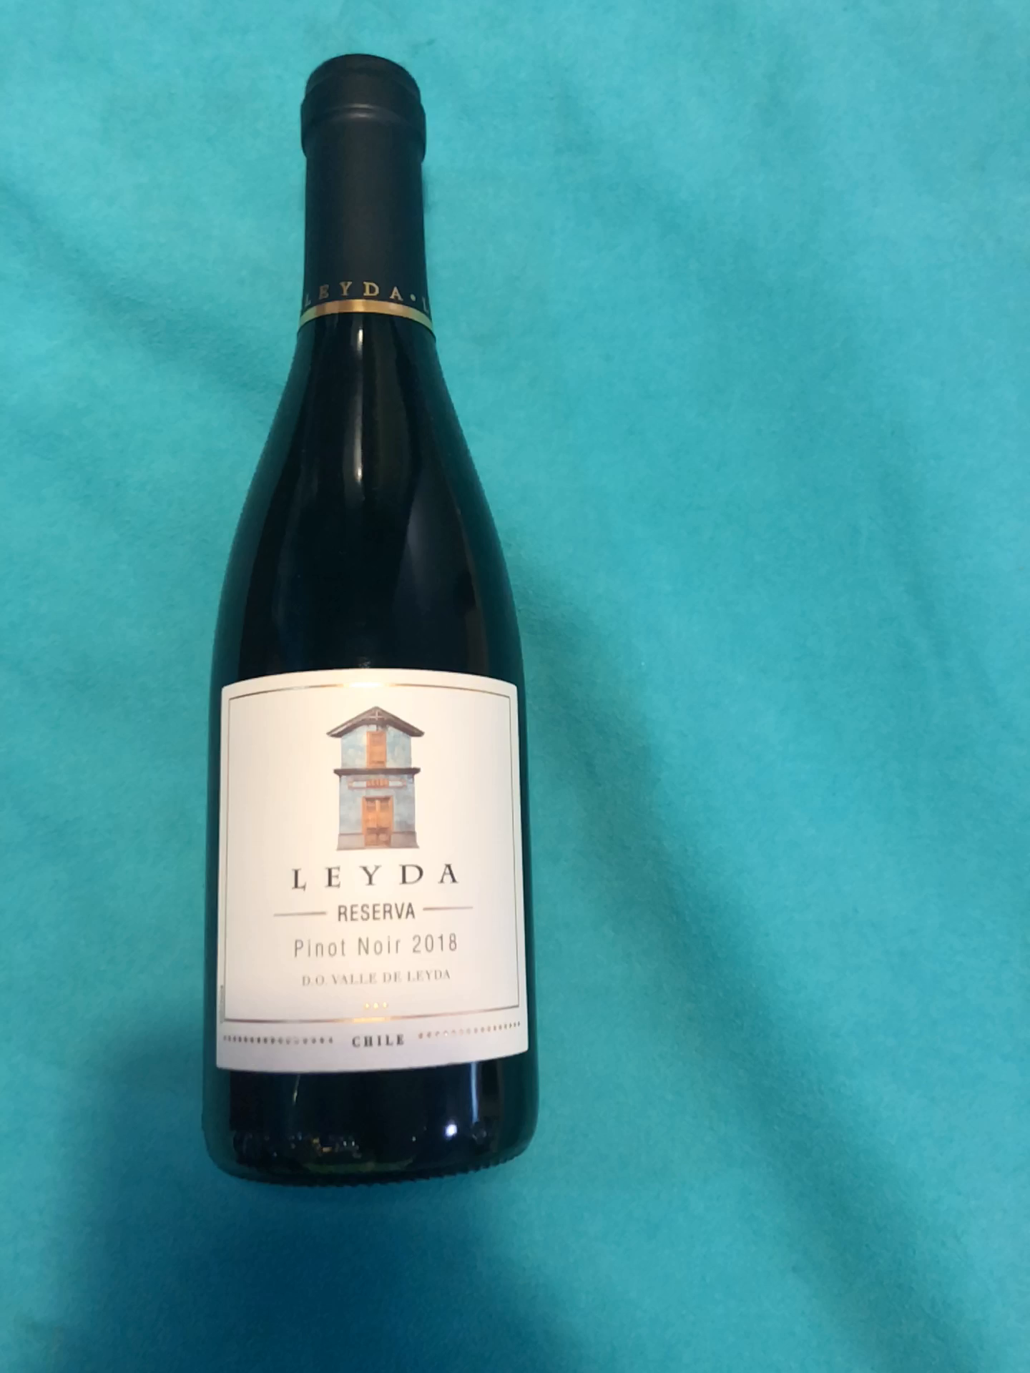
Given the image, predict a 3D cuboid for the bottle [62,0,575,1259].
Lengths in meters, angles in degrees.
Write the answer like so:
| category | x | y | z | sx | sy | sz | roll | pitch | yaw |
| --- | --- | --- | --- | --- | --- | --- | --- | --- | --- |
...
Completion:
| category | x | y | z | sx | sy | sz | roll | pitch | yaw |
| --- | --- | --- | --- | --- | --- | --- | --- | --- | --- |
| bottle | -0.027 | -0.042 | 0.222 | 0.070 | 0.080 | 0.260 | 1 | 81 | -1 |
